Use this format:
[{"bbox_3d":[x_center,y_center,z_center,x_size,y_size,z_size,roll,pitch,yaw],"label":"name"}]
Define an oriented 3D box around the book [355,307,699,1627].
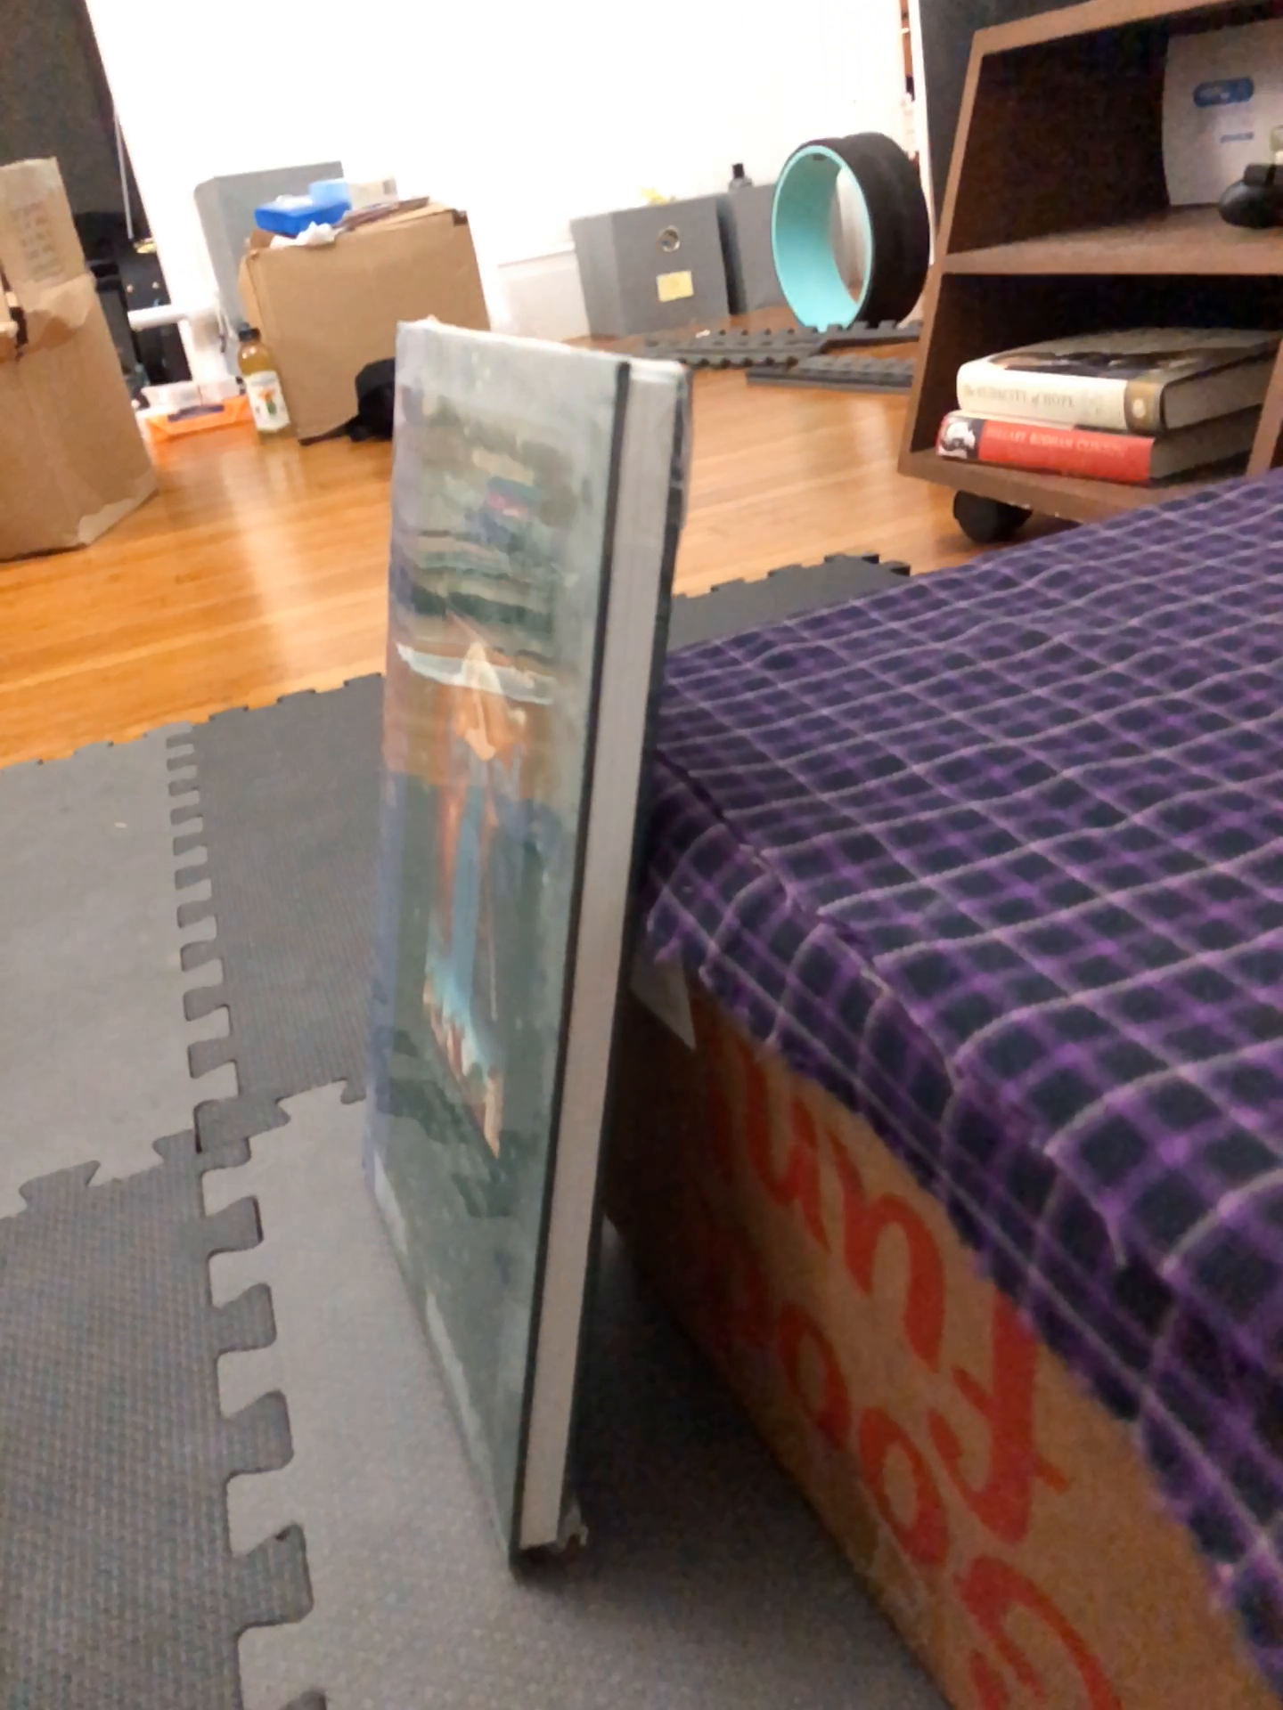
[{"bbox_3d":[-0.051,0.014,0.418,0.020,0.329,0.211,-2,20,-21],"label":"book"}]
